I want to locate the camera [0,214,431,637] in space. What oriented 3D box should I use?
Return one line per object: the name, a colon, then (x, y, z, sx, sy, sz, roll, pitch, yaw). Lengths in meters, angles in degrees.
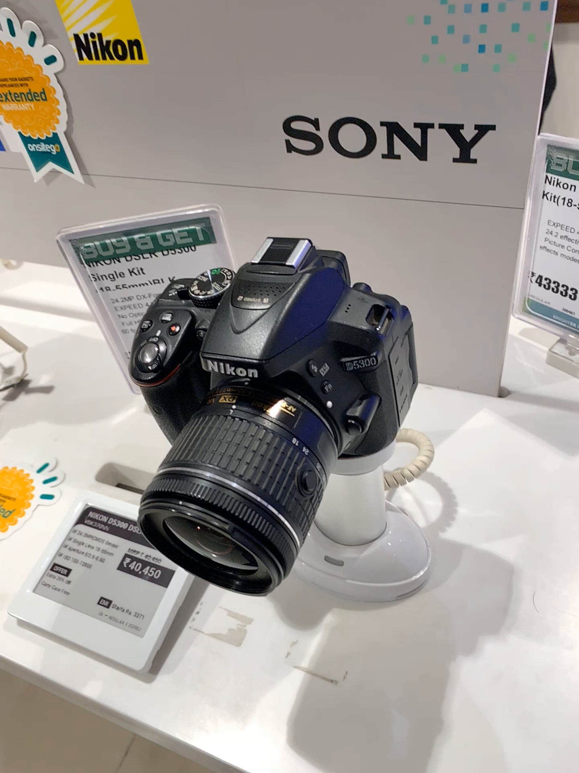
camera: (-0.024, 0.001, 0.231, 0.130, 0.070, 0.130, 9, 47, 19)
